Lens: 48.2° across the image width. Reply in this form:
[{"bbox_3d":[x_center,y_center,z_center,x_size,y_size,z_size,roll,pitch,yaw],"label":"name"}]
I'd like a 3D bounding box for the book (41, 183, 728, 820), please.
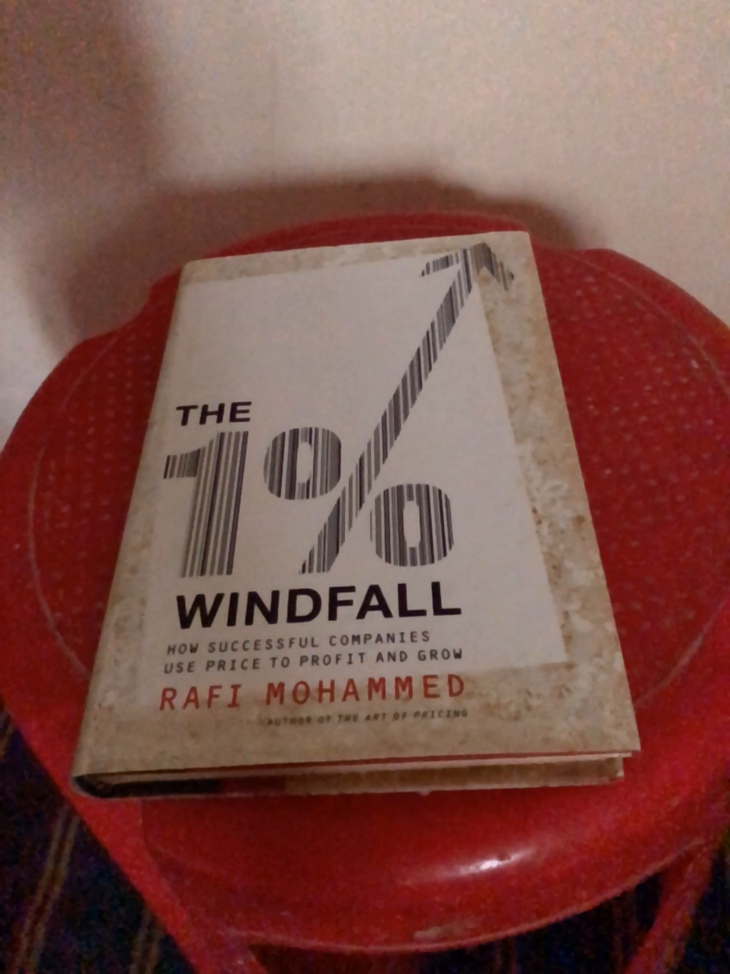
[{"bbox_3d":[0.003,-0.018,0.310,0.180,0.040,0.261,-4,51,4],"label":"book"}]
